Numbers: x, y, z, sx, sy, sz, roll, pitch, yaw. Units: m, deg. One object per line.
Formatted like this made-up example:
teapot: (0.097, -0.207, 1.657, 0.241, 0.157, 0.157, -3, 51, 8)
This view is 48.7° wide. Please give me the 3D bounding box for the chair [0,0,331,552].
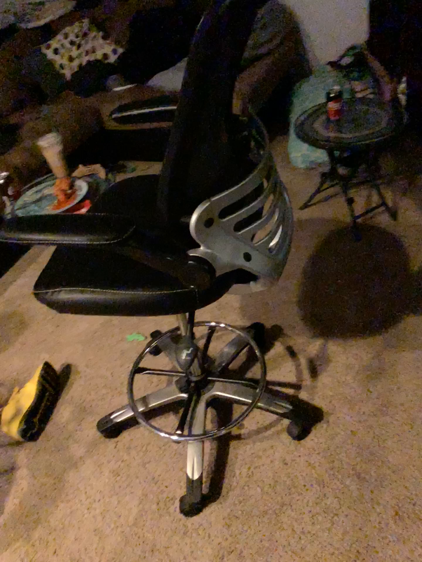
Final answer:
chair: (-0.100, -0.057, 1.098, 0.700, 1.120, 0.780, 2, 43, 17)
